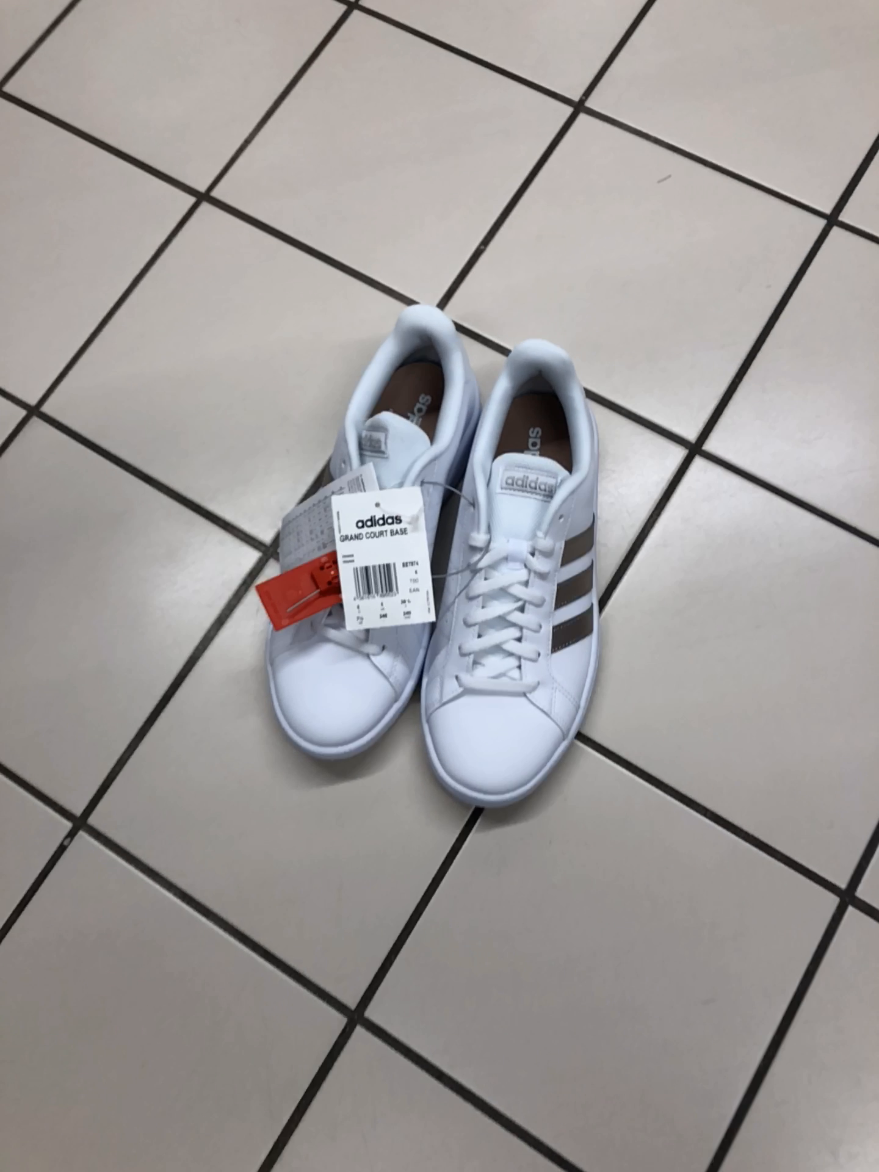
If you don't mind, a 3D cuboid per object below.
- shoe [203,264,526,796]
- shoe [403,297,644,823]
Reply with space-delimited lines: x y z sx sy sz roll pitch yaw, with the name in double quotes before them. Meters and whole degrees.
"shoe" -0.032 -0.032 0.572 0.100 0.100 0.280 14 74 8
"shoe" 0.052 -0.014 0.565 0.100 0.100 0.280 6 73 6
